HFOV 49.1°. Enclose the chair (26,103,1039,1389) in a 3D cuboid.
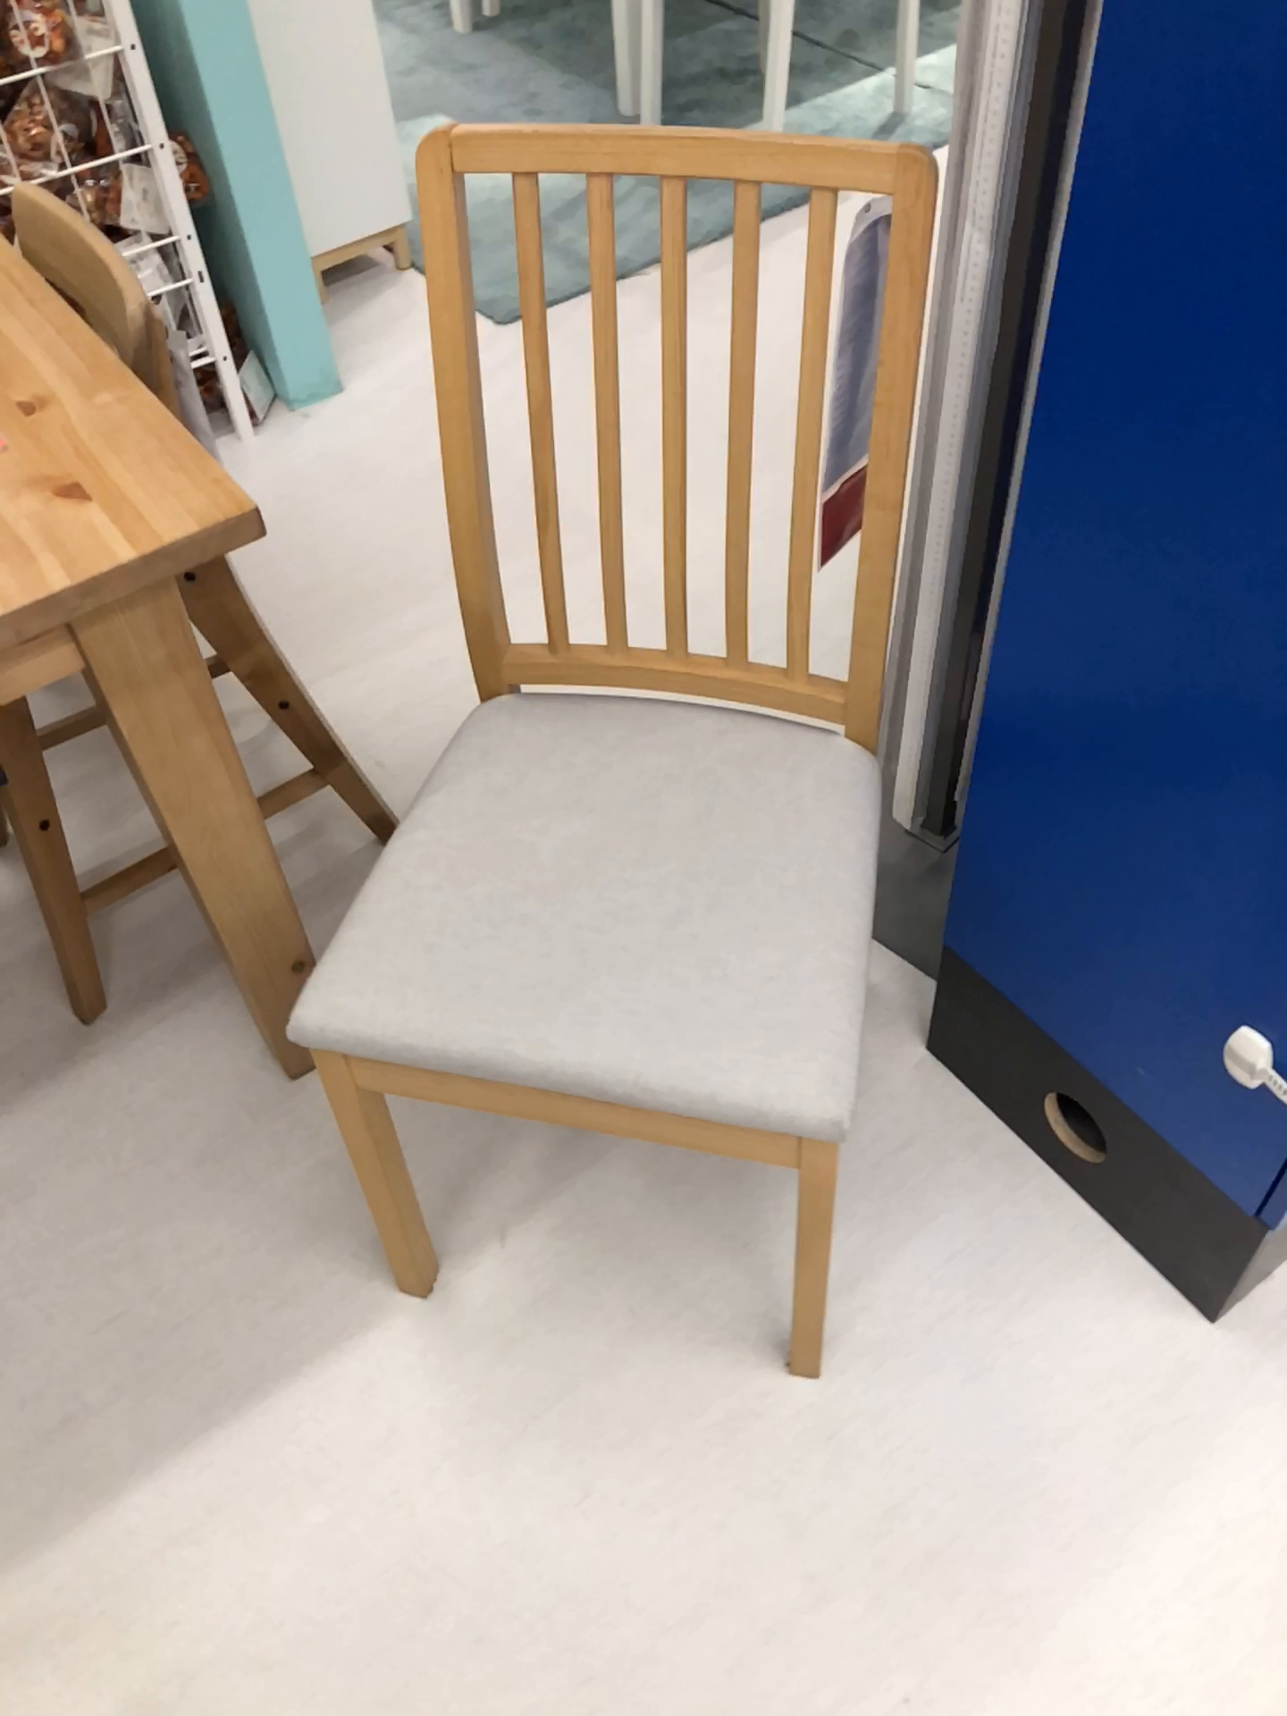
[{"bbox_3d":[0.003,-0.037,1.122,0.450,0.855,0.513,8,50,12],"label":"chair"}]
